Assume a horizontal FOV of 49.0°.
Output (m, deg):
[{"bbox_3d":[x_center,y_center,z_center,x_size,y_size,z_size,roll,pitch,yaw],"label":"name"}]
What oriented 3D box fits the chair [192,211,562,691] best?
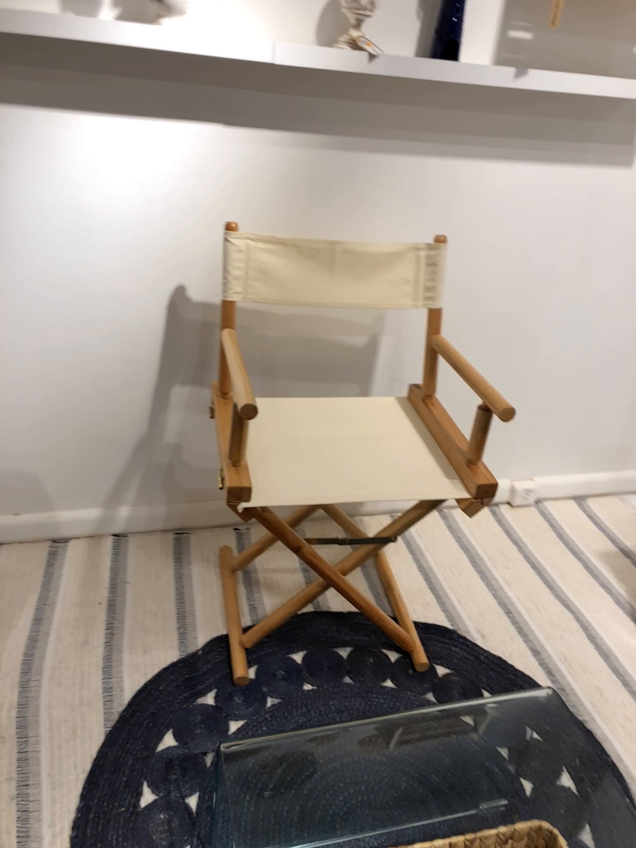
[{"bbox_3d":[0.029,0.035,1.483,0.540,0.794,0.564,-1,30,-13],"label":"chair"}]
